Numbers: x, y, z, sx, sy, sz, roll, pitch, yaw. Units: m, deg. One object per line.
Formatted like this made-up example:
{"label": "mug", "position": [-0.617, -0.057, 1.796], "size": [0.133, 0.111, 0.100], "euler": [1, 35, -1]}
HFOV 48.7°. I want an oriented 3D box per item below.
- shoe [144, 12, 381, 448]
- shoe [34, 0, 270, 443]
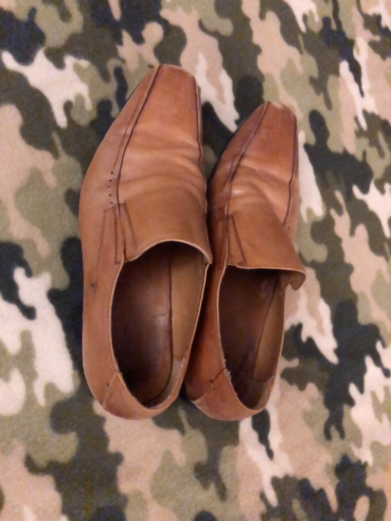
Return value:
{"label": "shoe", "position": [0.061, -0.024, 0.382], "size": [0.110, 0.120, 0.320], "euler": [18, 75, -21]}
{"label": "shoe", "position": [-0.034, -0.043, 0.337], "size": [0.110, 0.120, 0.320], "euler": [12, 77, -22]}
